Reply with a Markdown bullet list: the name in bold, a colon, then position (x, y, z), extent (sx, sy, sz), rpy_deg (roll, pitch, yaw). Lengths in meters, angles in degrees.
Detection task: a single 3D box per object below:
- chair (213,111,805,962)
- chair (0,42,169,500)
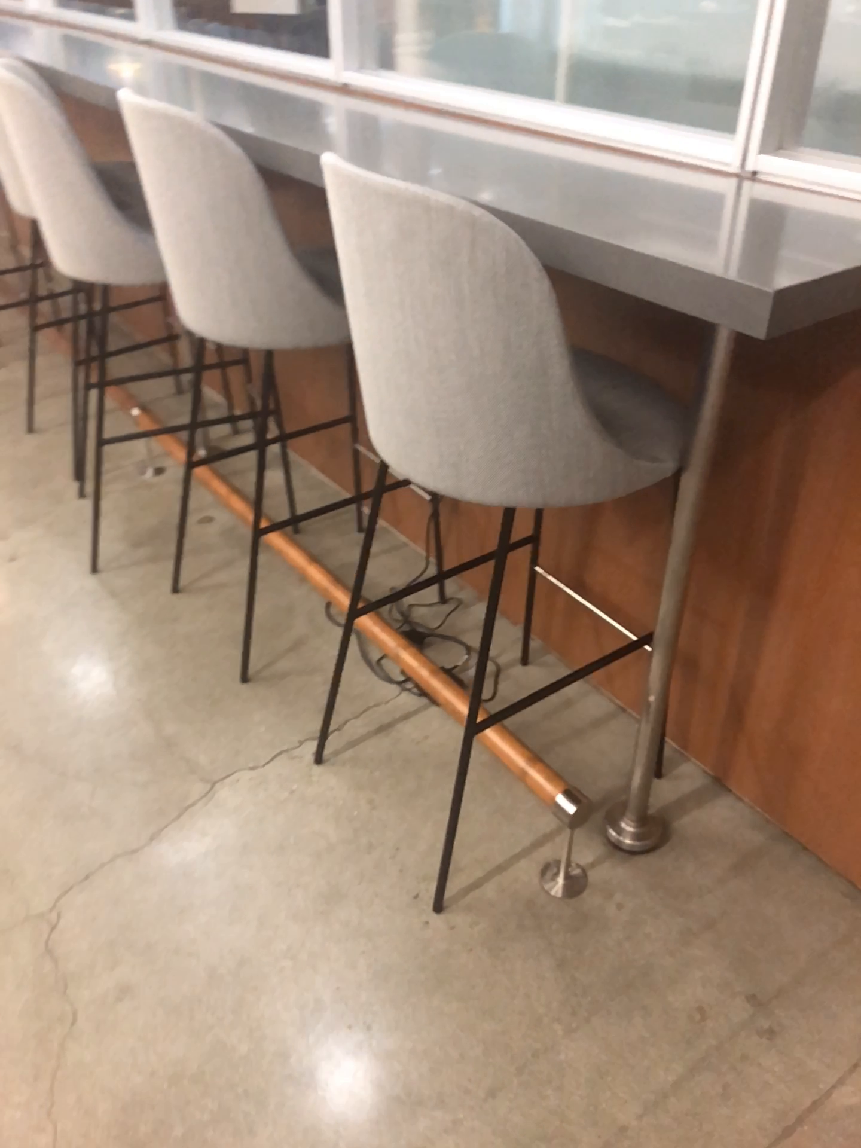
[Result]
- **chair**: position (0.092, -0.053, 1.556), extent (0.593, 1.180, 0.492), rpy_deg (-20, 39, -28)
- **chair**: position (-1.579, -1.174, 3.680), extent (0.623, 1.487, 0.712), rpy_deg (-25, 41, -32)
